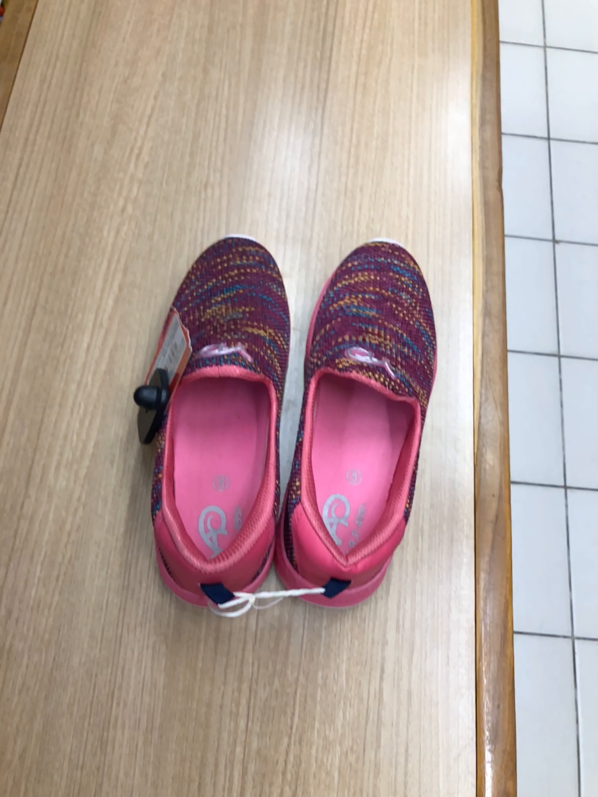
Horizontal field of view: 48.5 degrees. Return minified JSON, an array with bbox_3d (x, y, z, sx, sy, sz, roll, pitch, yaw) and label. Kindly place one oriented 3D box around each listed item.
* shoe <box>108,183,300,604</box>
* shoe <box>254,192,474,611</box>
[{"bbox_3d":[-0.051,0.000,0.430,0.090,0.100,0.251,3,71,-3],"label":"shoe"},{"bbox_3d":[0.045,0.004,0.463,0.100,0.100,0.261,11,71,0],"label":"shoe"}]
